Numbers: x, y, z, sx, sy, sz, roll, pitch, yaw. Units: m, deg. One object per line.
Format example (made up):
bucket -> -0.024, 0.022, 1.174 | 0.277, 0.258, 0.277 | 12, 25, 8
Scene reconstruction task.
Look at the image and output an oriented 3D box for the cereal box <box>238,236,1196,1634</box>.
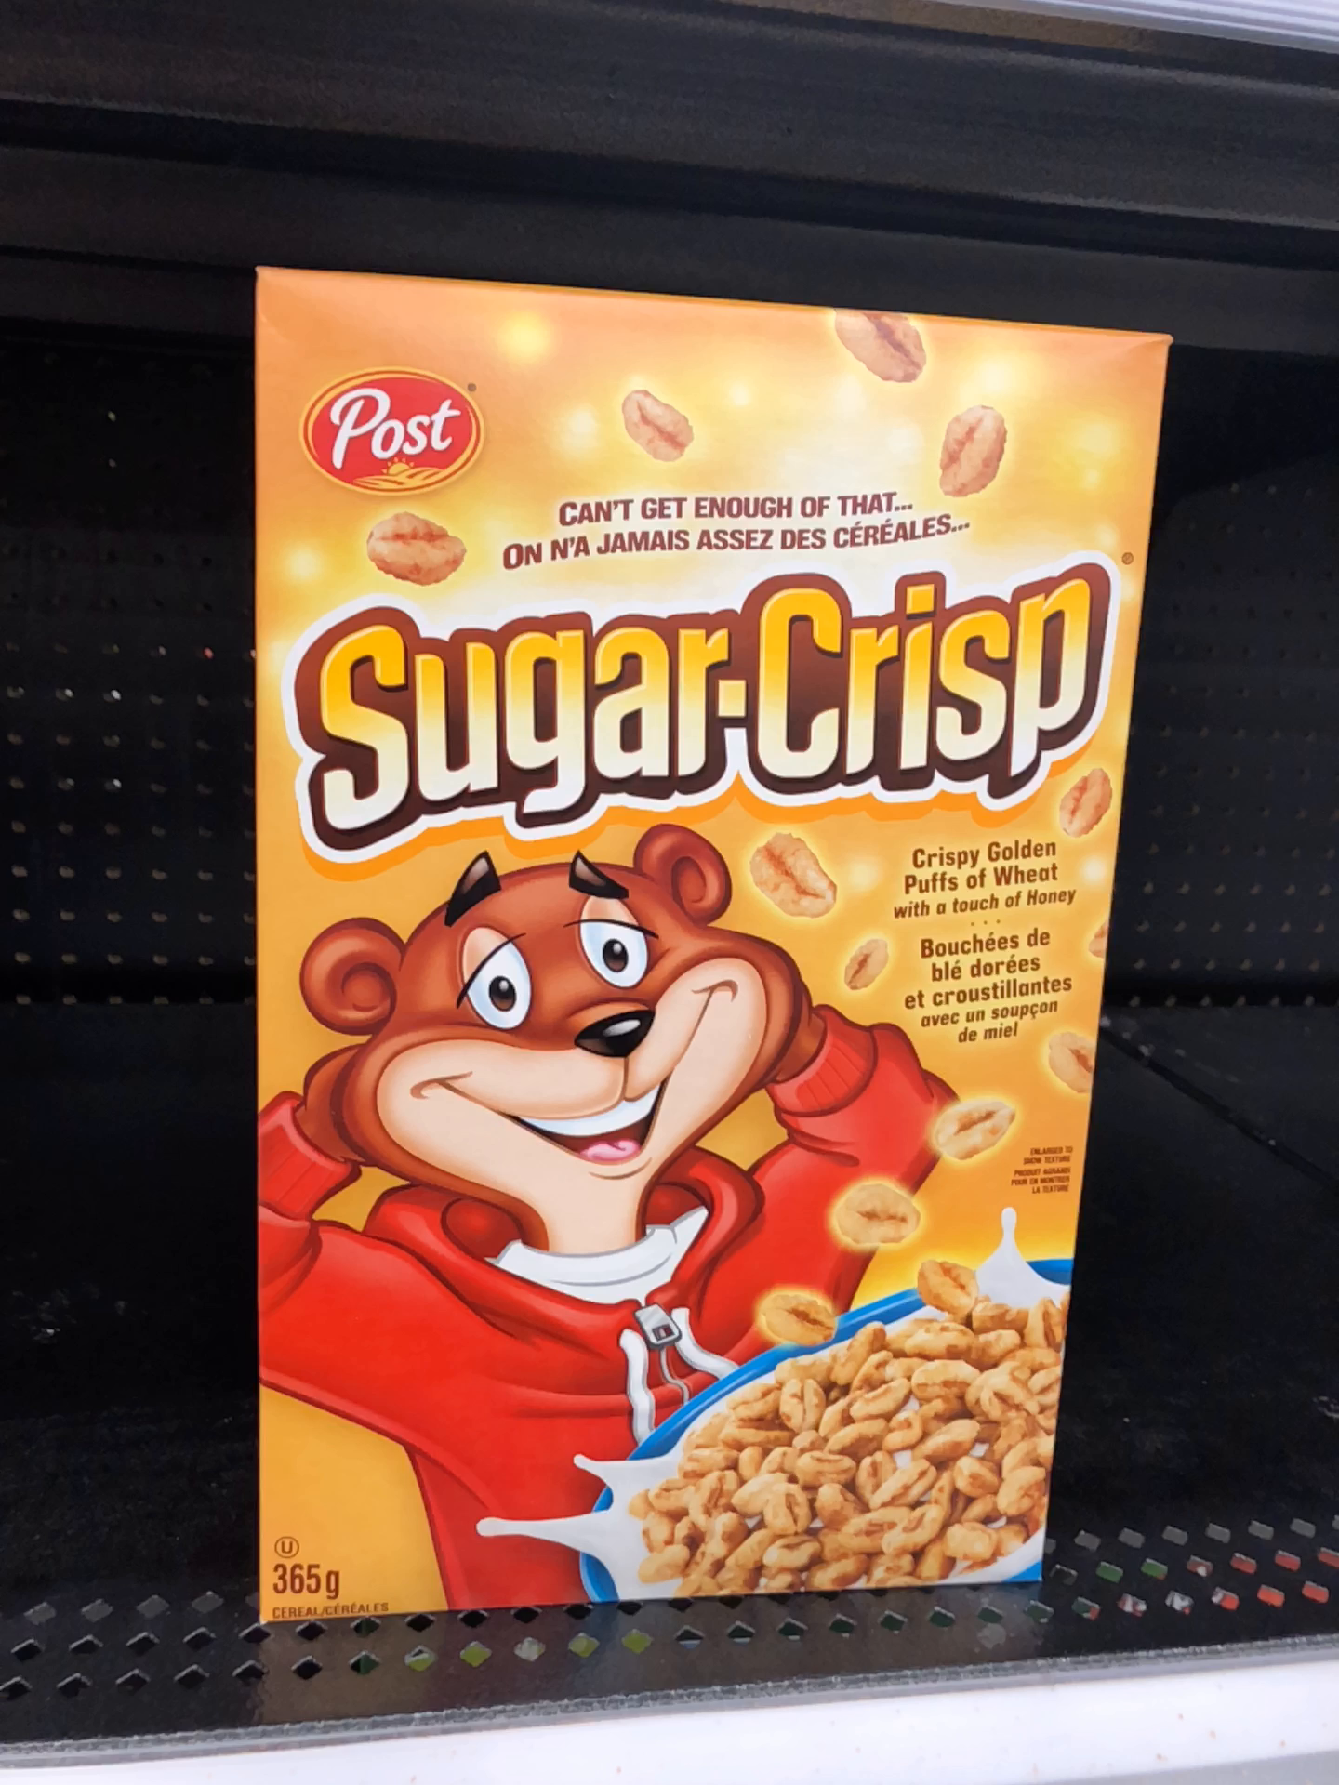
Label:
cereal box -> 0.003, 0.018, 0.363 | 0.200, 0.309, 0.060 | 1, 11, -8
